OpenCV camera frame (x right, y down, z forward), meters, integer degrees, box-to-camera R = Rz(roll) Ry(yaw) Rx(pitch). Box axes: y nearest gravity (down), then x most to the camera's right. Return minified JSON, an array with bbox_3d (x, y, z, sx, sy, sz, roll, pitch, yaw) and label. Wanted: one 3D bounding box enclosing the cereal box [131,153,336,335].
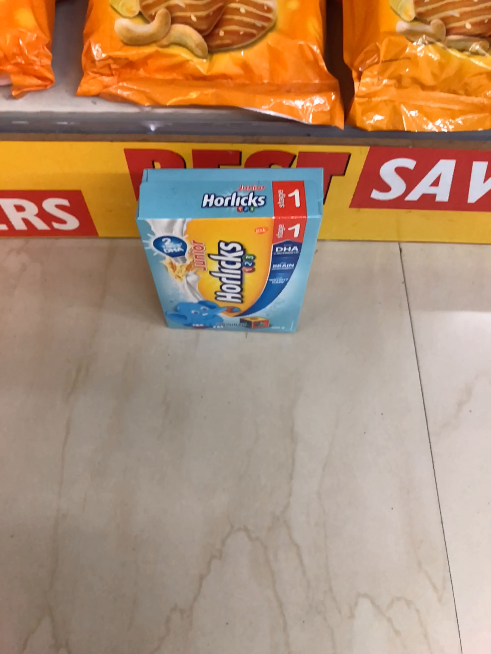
[{"bbox_3d":[-0.007,-0.059,0.471,0.140,0.199,0.050,3,66,1],"label":"cereal box"}]
